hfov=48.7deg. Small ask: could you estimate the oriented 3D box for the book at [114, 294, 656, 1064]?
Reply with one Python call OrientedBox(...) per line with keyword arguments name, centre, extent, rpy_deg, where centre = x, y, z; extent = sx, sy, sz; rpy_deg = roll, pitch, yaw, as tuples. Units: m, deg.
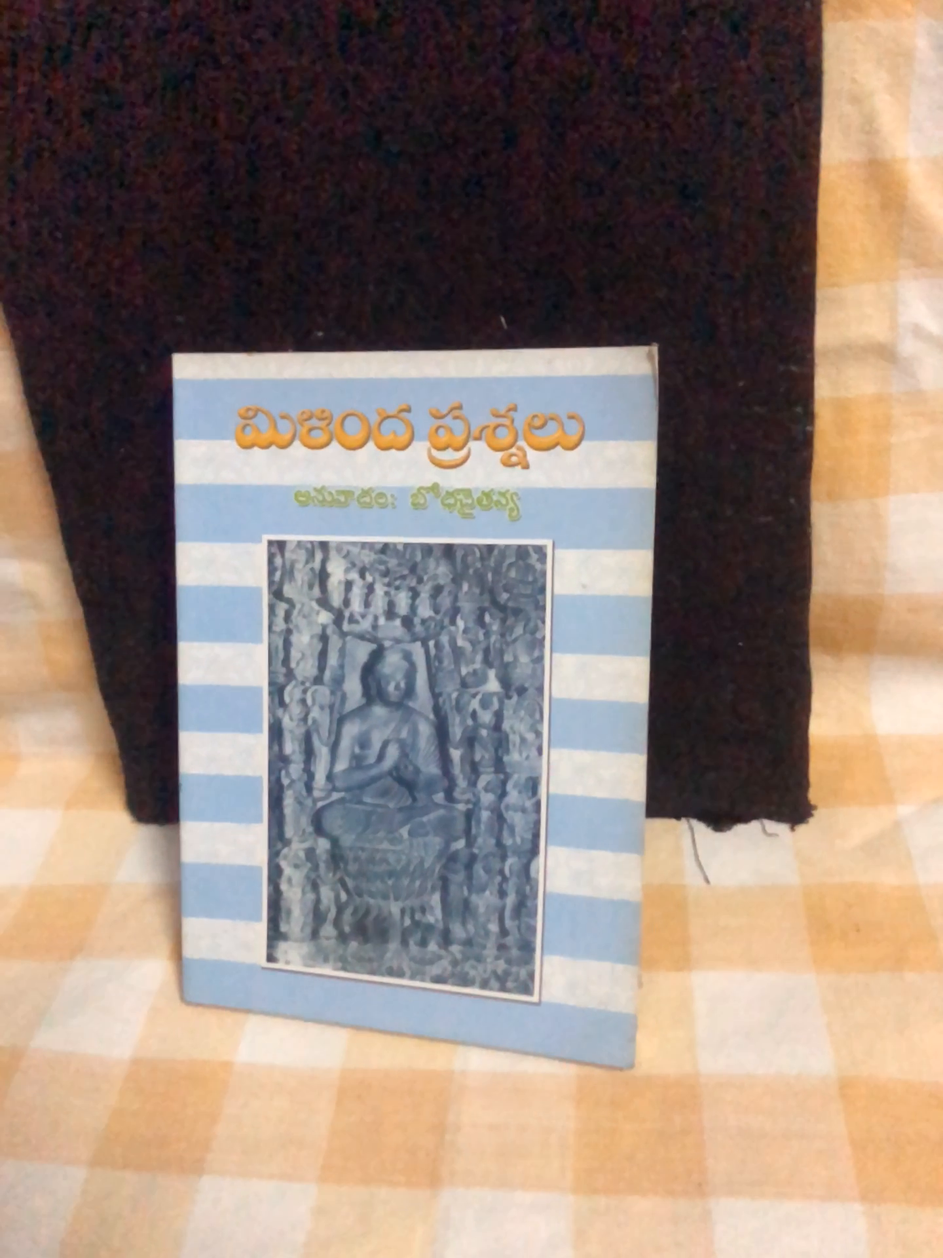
OrientedBox(name="book", centre=(-0.029, 0.012, 0.318), extent=(0.160, 0.210, 0.030), rpy_deg=(2, 5, 16))
